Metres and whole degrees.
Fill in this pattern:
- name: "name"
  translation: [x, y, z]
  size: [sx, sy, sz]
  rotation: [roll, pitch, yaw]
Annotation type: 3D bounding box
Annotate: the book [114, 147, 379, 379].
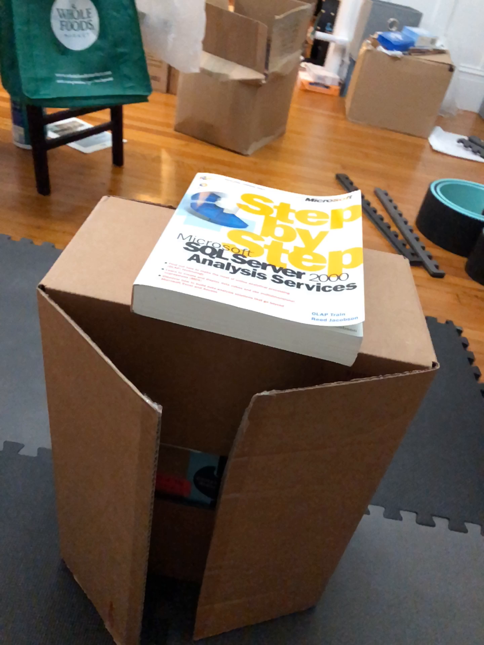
- name: "book"
  translation: [0.015, -0.072, 0.505]
  size: [0.200, 0.050, 0.242]
  rotation: [14, 39, -3]
